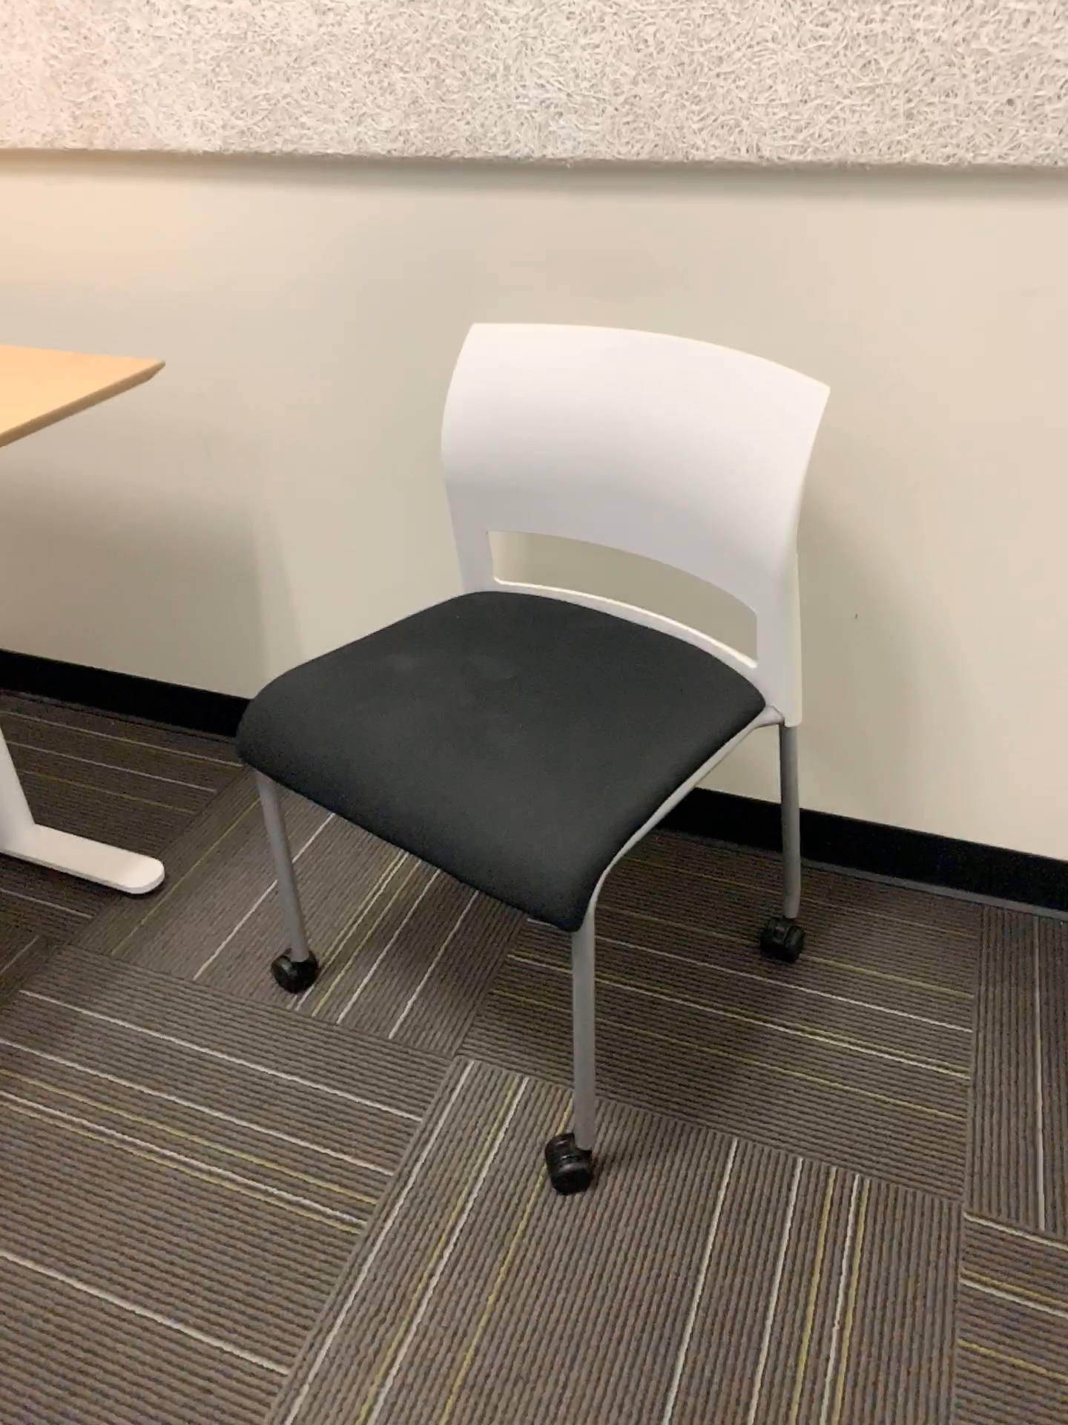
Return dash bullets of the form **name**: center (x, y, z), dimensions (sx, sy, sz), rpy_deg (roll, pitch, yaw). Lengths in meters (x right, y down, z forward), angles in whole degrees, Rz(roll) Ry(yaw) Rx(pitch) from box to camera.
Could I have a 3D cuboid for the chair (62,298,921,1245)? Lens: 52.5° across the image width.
- **chair**: center (-0.010, 0.003, 1.303), dimensions (0.622, 0.775, 0.622), rpy_deg (20, 39, 30)
